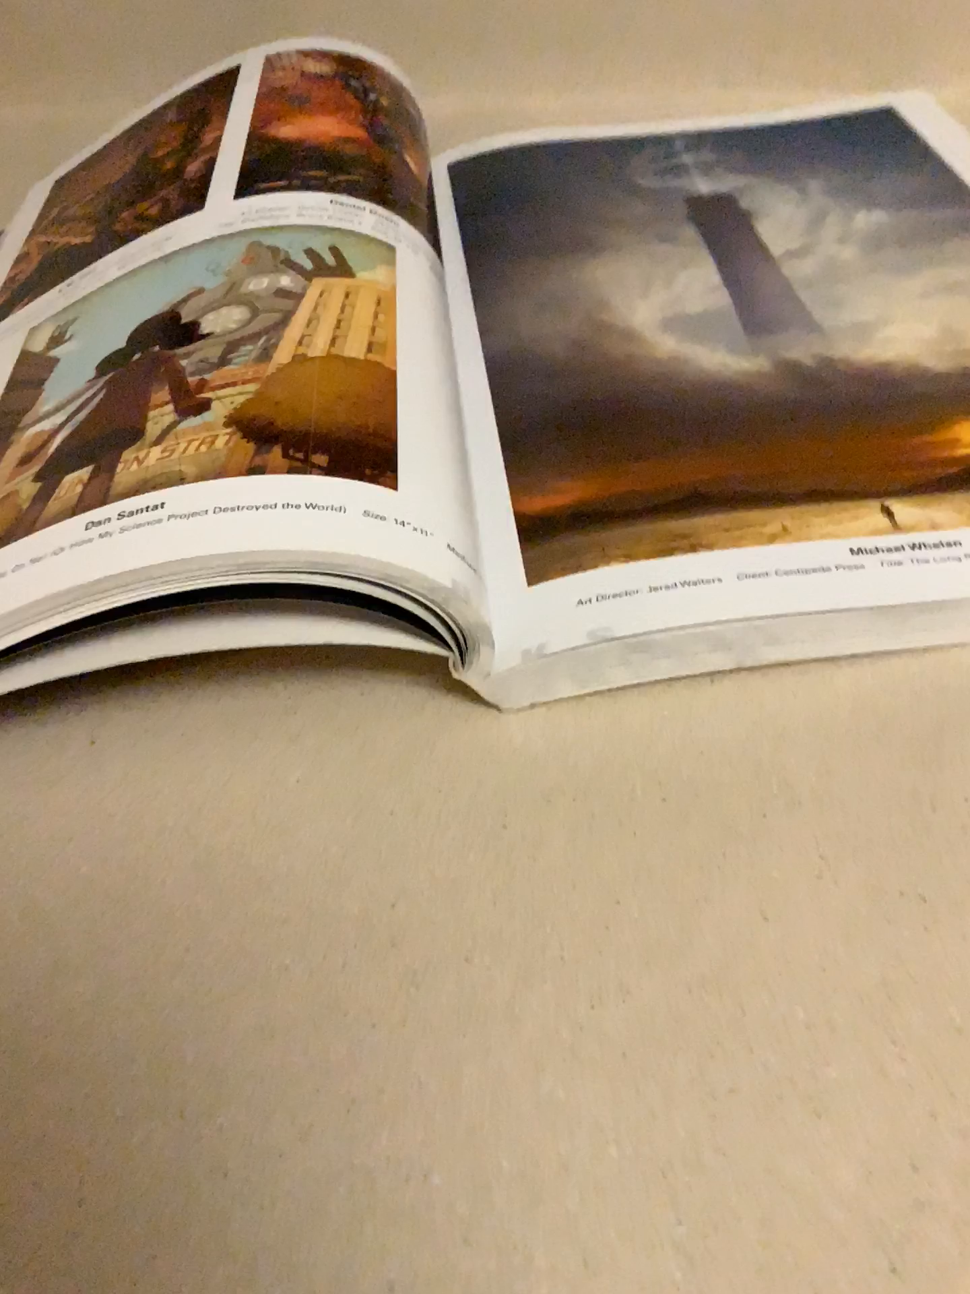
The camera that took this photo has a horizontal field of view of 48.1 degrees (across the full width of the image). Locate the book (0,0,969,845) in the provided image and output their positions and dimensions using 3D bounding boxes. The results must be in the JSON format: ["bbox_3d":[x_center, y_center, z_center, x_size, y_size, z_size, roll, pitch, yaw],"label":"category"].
[{"bbox_3d":[-0.006,-0.121,0.350,0.450,0.070,0.320,-8,45,1],"label":"book"}]
